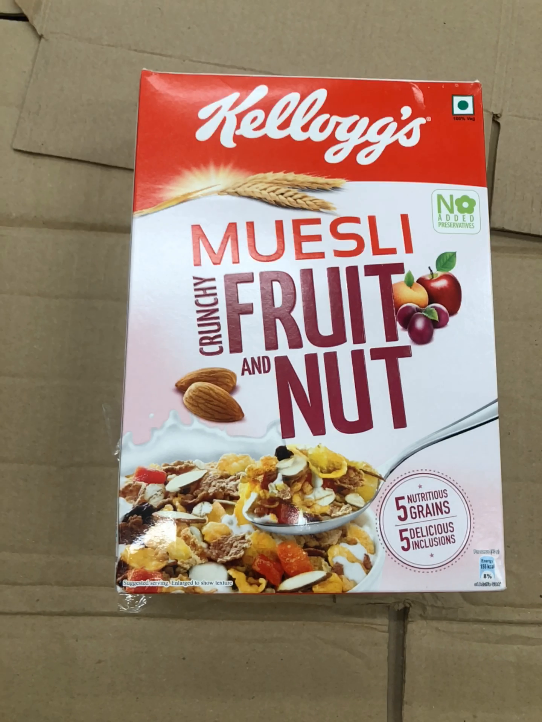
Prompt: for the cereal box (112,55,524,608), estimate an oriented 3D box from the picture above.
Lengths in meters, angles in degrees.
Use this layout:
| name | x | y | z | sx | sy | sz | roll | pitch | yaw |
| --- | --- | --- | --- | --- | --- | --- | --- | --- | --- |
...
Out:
| name | x | y | z | sx | sy | sz | roll | pitch | yaw |
| --- | --- | --- | --- | --- | --- | --- | --- | --- | --- |
| cereal box | 0.019 | -0.016 | 0.308 | 0.170 | 0.080 | 0.250 | 0 | 80 | -3 |
